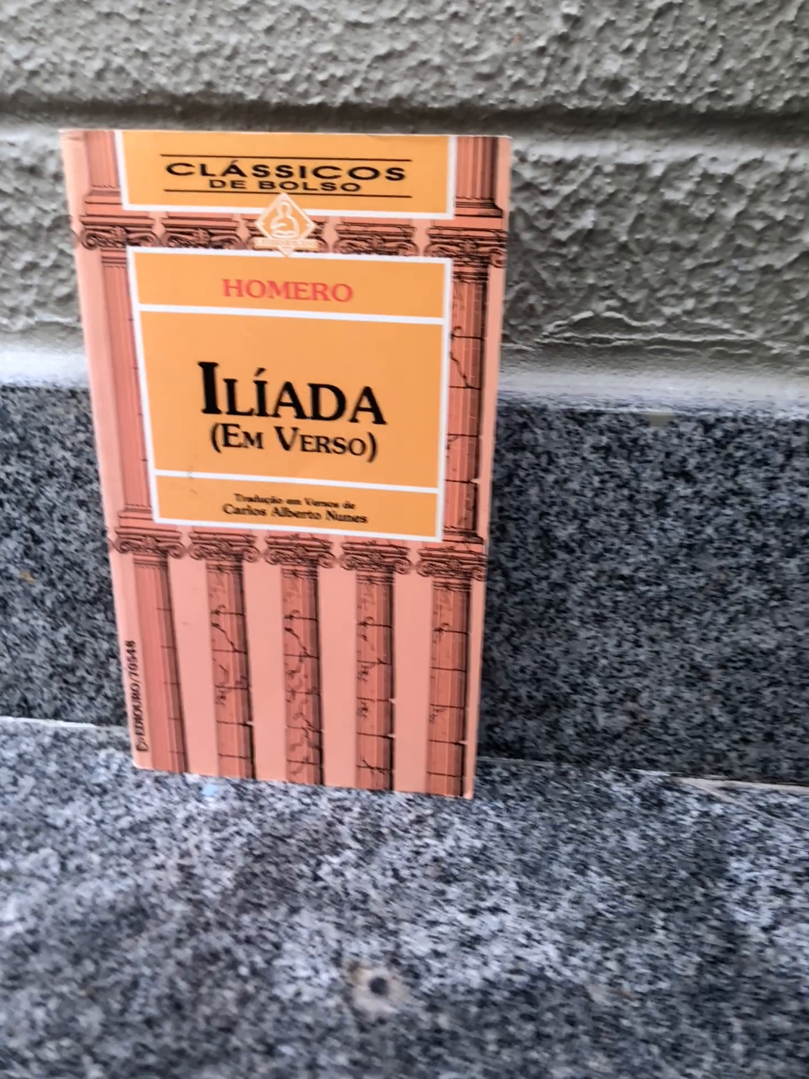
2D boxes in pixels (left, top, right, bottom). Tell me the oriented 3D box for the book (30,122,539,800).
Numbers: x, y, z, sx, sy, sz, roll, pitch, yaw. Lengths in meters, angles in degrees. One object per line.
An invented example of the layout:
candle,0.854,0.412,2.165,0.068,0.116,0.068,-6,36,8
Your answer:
book,-0.034,-0.017,0.298,0.139,0.218,0.030,4,24,6
